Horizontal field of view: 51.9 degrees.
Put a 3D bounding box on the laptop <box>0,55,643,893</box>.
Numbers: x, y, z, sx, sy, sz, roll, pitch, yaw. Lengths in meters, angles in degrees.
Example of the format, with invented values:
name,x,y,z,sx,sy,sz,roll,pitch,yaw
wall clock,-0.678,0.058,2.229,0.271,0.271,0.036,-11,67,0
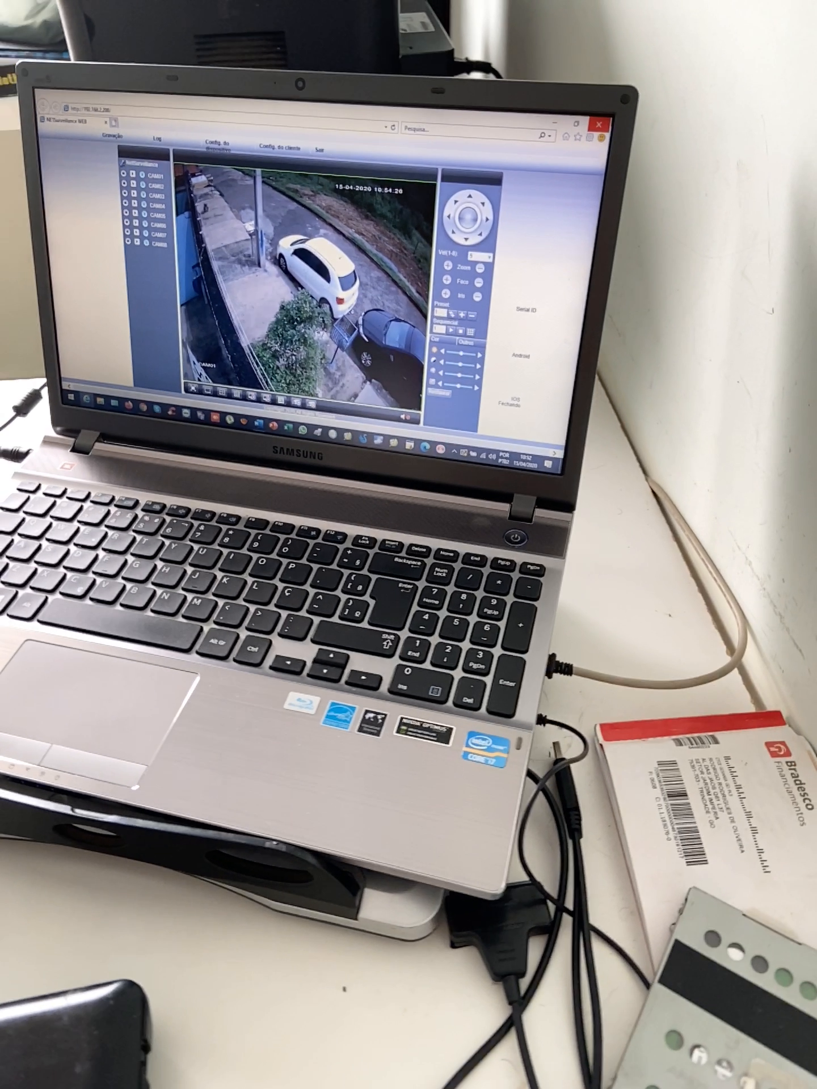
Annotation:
name,x,y,z,sx,sy,sz,roll,pitch,yaw
laptop,-0.097,-0.078,0.433,0.367,0.213,0.336,9,45,13
